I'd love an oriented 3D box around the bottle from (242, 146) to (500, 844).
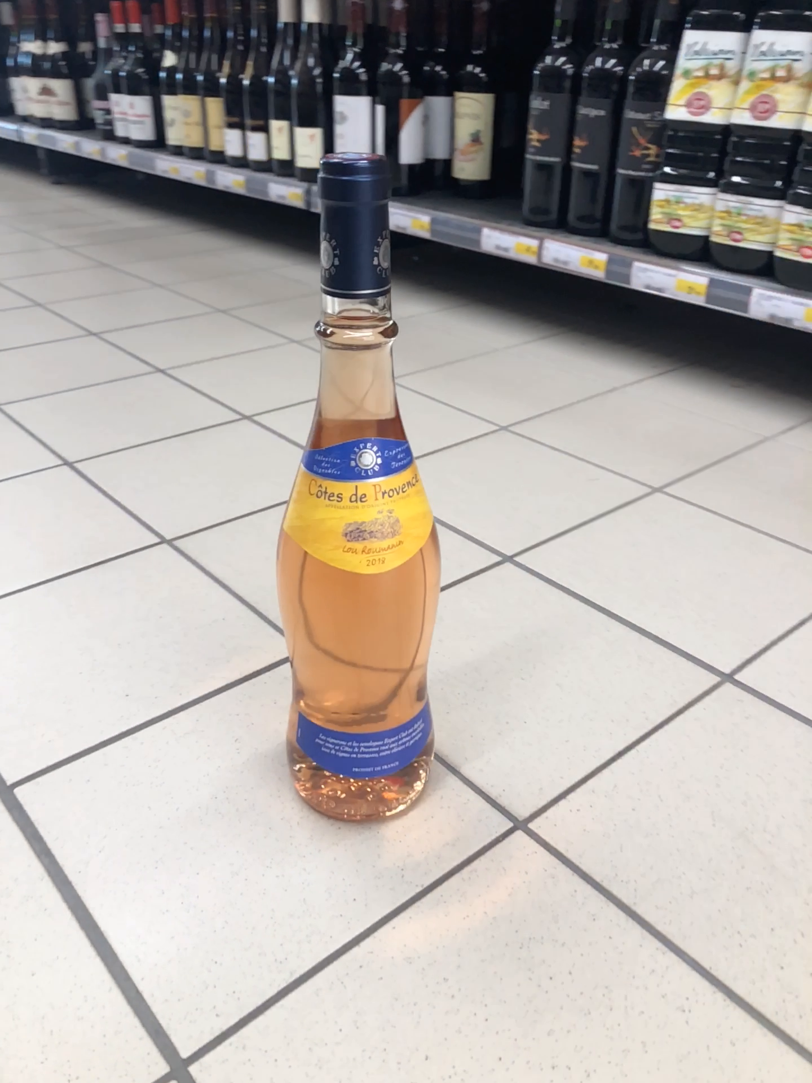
[{"bbox_3d":[-0.020,-0.010,0.421,0.090,0.318,0.080,-4,28,-9],"label":"bottle"}]
